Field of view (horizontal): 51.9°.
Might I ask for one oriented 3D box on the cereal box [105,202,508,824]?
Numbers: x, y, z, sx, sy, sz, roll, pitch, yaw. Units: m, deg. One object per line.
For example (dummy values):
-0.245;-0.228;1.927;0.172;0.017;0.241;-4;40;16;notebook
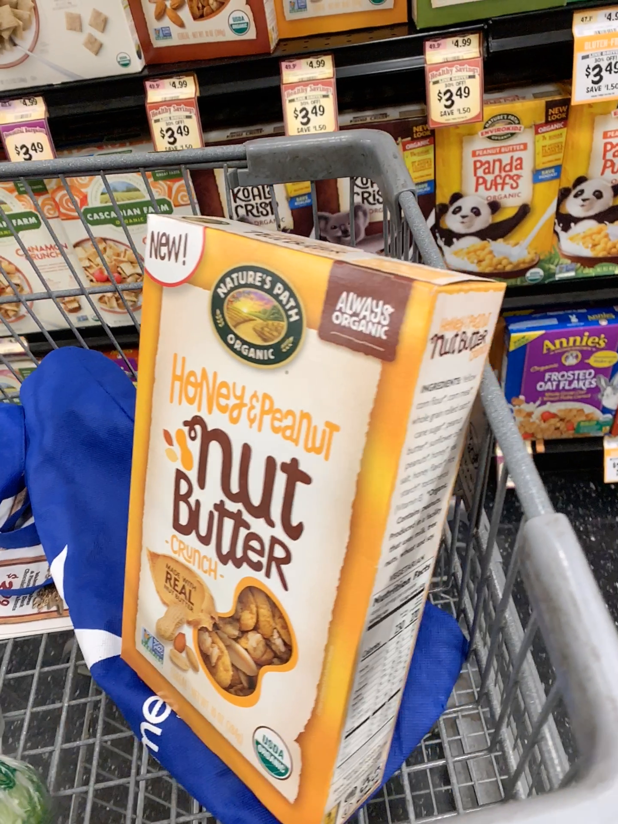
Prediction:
-0.023;0.041;0.291;0.160;0.239;0.050;24;24;37;cereal box
